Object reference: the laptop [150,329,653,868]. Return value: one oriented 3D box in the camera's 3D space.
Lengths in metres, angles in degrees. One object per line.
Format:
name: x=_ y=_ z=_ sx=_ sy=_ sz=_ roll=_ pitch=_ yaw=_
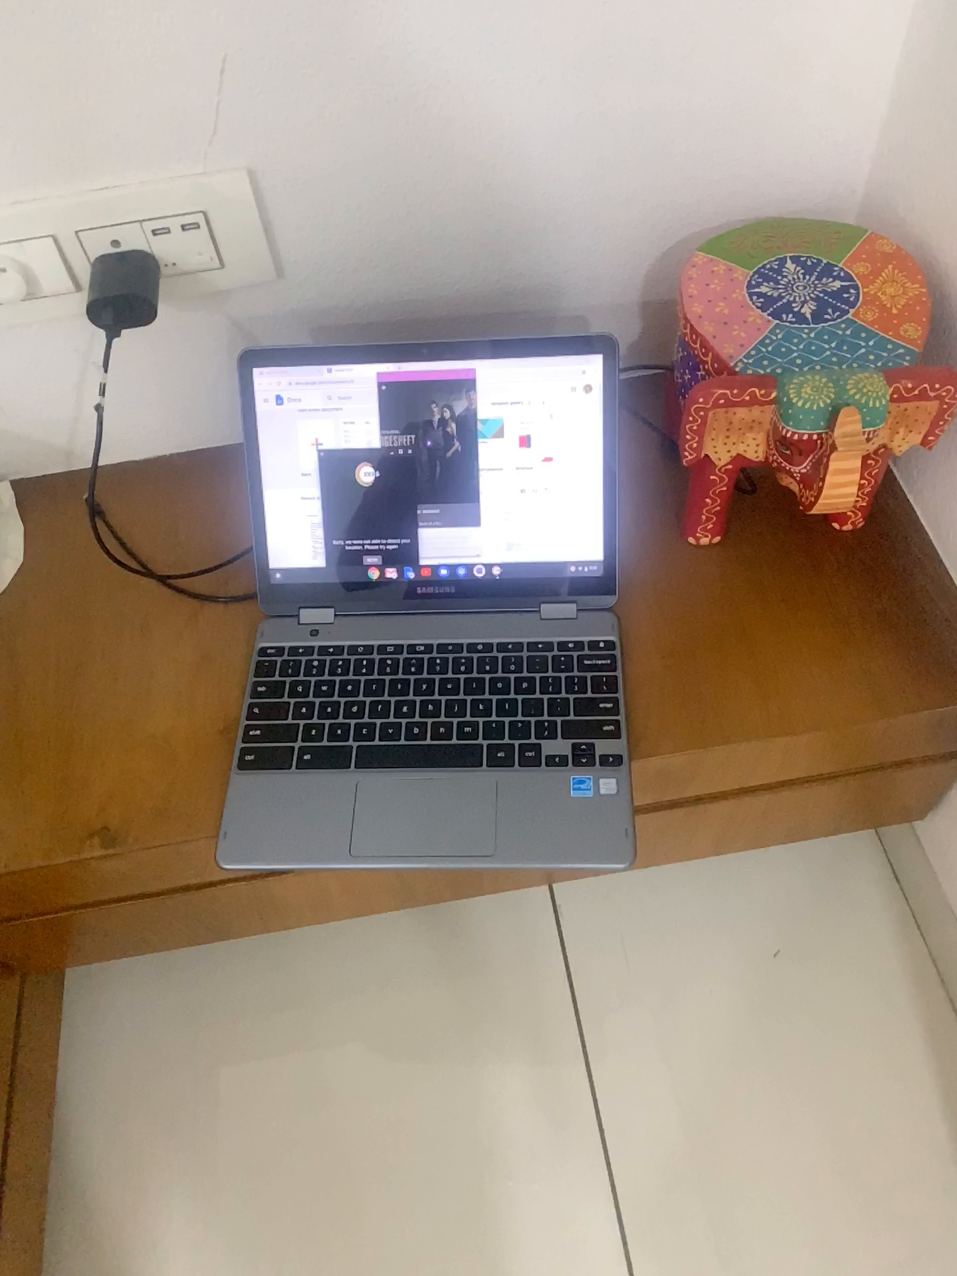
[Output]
laptop: x=-0.038 y=-0.036 z=0.772 sx=0.314 sy=0.164 sz=0.384 roll=-1 pitch=58 yaw=5
